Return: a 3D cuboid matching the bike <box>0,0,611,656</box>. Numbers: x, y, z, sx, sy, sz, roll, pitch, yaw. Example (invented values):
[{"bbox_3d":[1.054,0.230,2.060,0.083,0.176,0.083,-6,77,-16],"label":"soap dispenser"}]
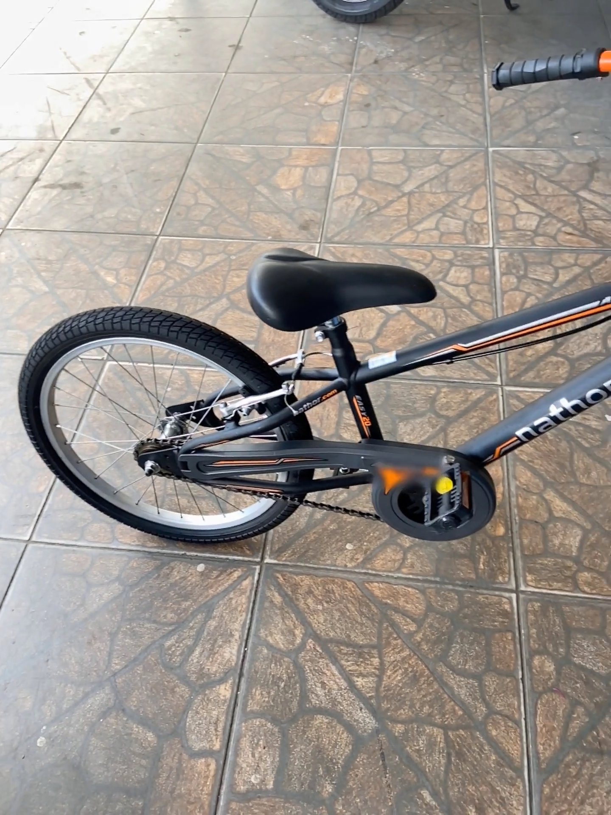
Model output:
[{"bbox_3d":[0.190,-0.149,0.911,1.349,0.980,0.726,0,54,2],"label":"bike"}]
